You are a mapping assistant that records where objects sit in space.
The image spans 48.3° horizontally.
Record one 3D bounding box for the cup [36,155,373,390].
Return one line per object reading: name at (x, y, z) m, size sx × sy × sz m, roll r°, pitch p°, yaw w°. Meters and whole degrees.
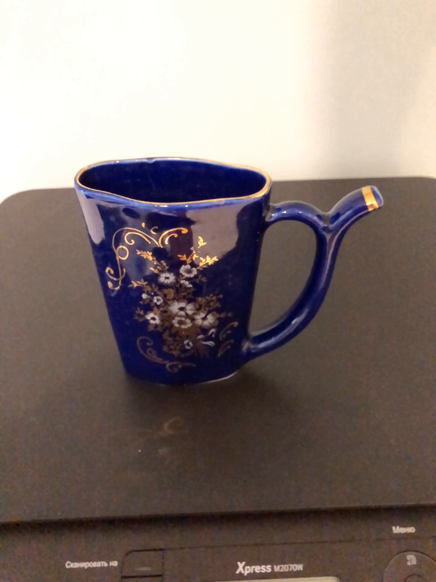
cup at (-0.005, -0.005, 0.243) m, size 0.130 × 0.109 × 0.050 m, roll 0°, pitch 42°, yaw 0°
